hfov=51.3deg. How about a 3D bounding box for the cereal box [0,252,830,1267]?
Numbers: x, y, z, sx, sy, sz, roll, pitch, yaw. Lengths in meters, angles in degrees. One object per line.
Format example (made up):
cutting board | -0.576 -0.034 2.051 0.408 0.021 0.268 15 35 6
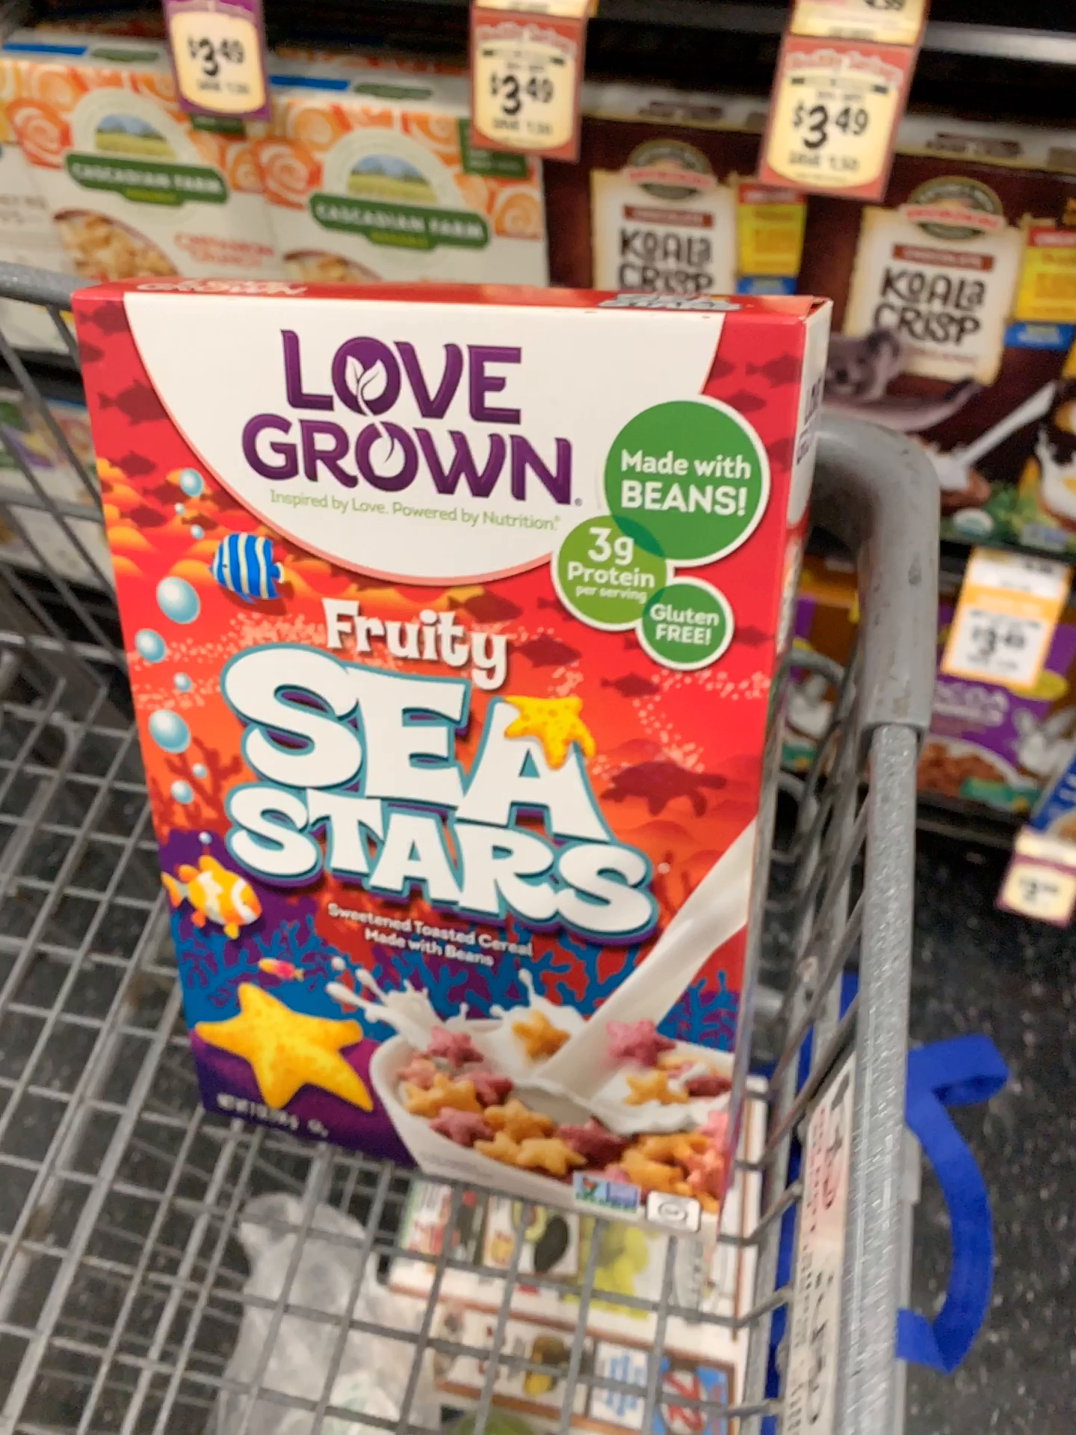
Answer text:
cereal box | -0.032 0.016 0.297 0.180 0.249 0.050 9 28 16
